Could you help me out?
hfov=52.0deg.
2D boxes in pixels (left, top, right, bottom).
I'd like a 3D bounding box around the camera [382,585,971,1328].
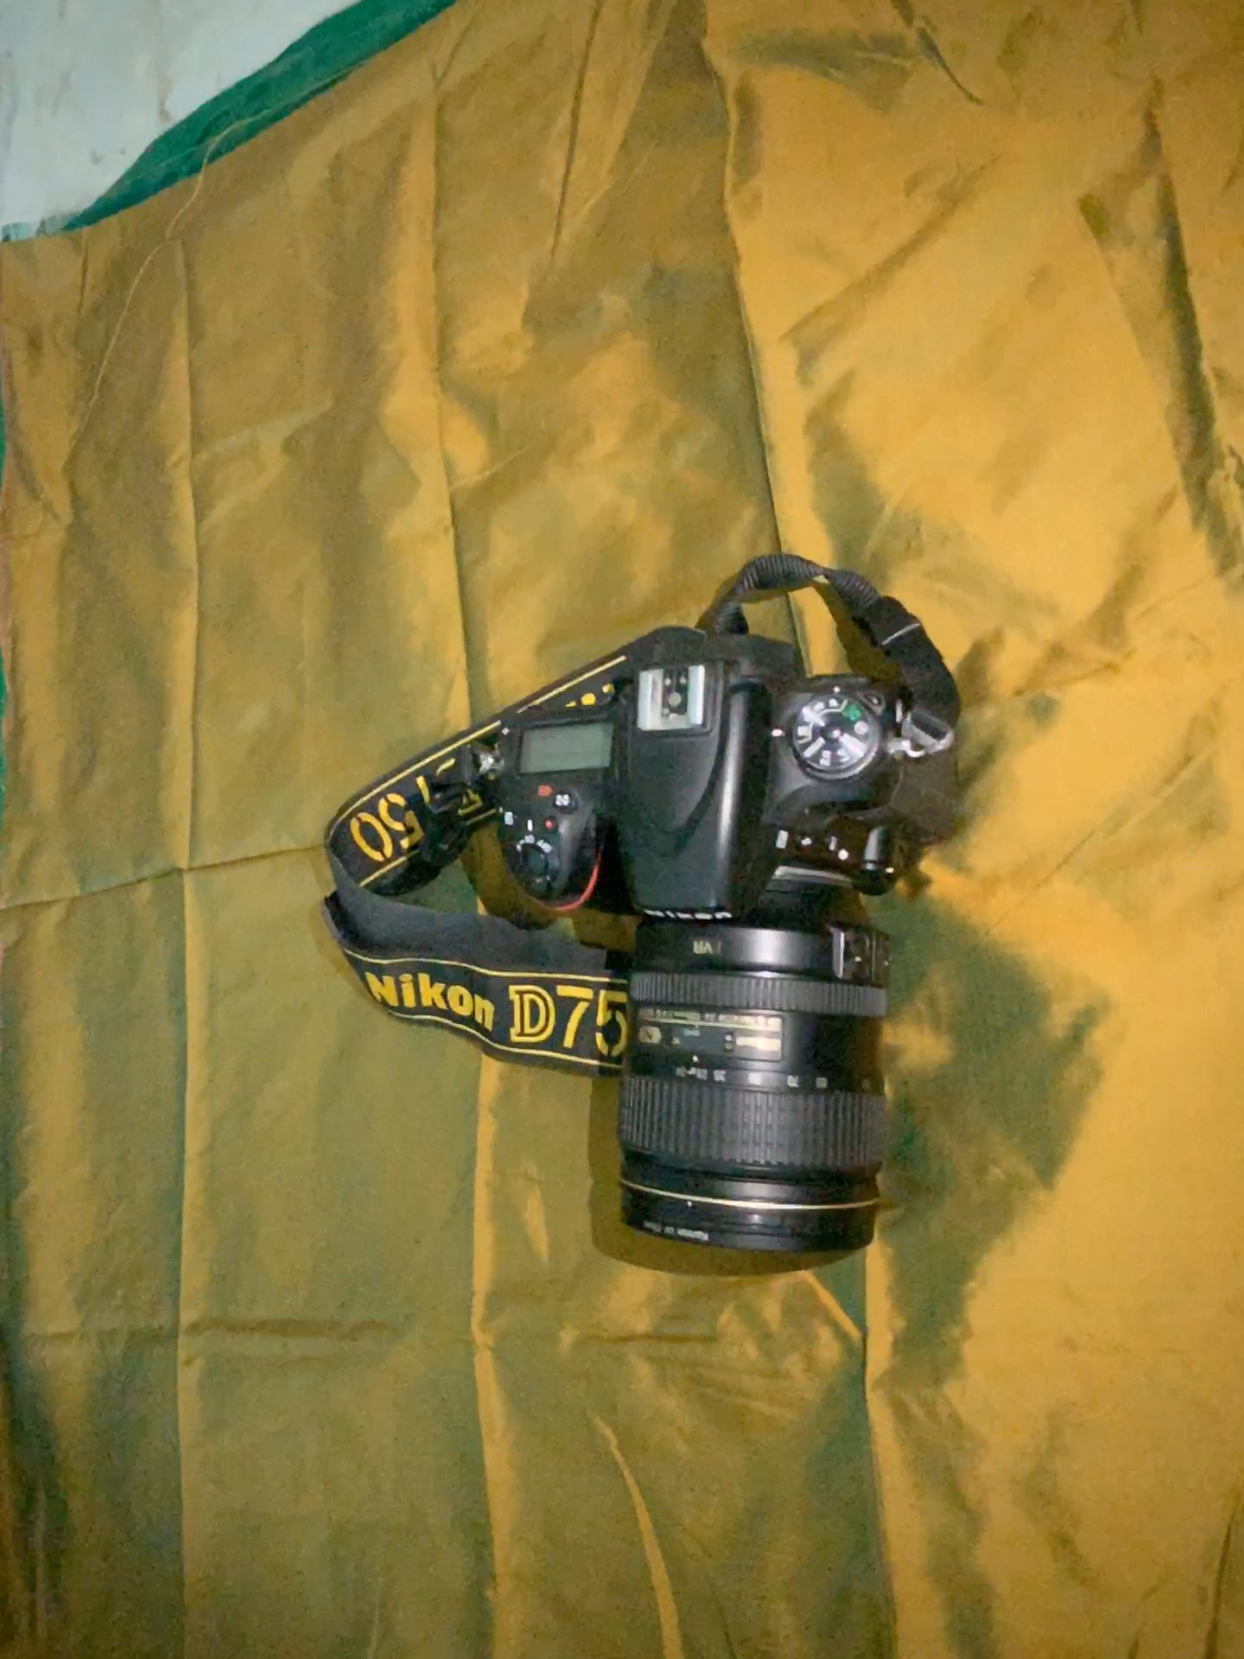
[{"bbox_3d":[0.020,0.041,0.406,0.150,0.101,0.190,-4,78,29],"label":"camera"}]
